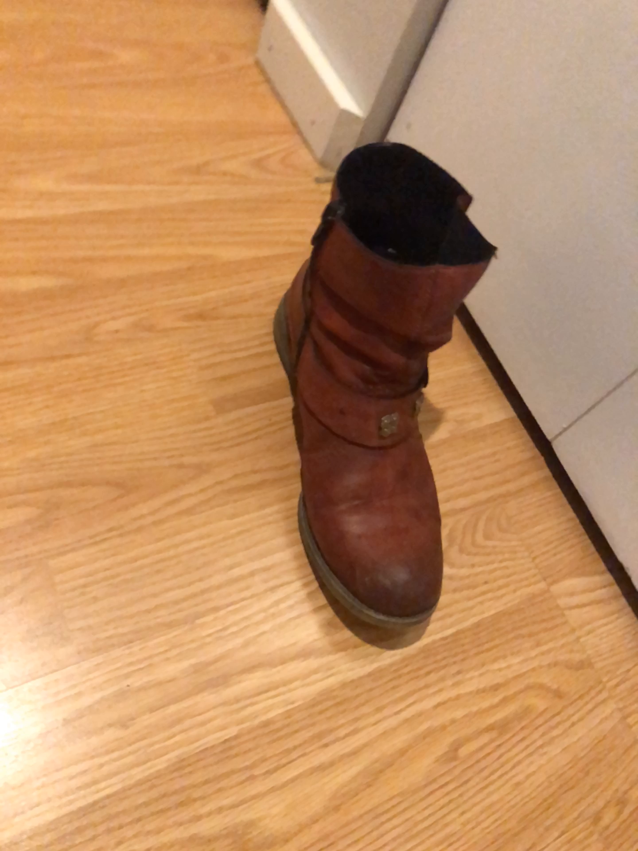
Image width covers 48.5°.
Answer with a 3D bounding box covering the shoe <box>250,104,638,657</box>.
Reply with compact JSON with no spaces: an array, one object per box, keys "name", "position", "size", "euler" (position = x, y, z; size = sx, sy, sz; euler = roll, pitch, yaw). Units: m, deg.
[{"name":"shoe","position":[0.044,-0.023,0.426],"size":[0.100,0.170,0.271],"euler":[-1,61,-20]}]
